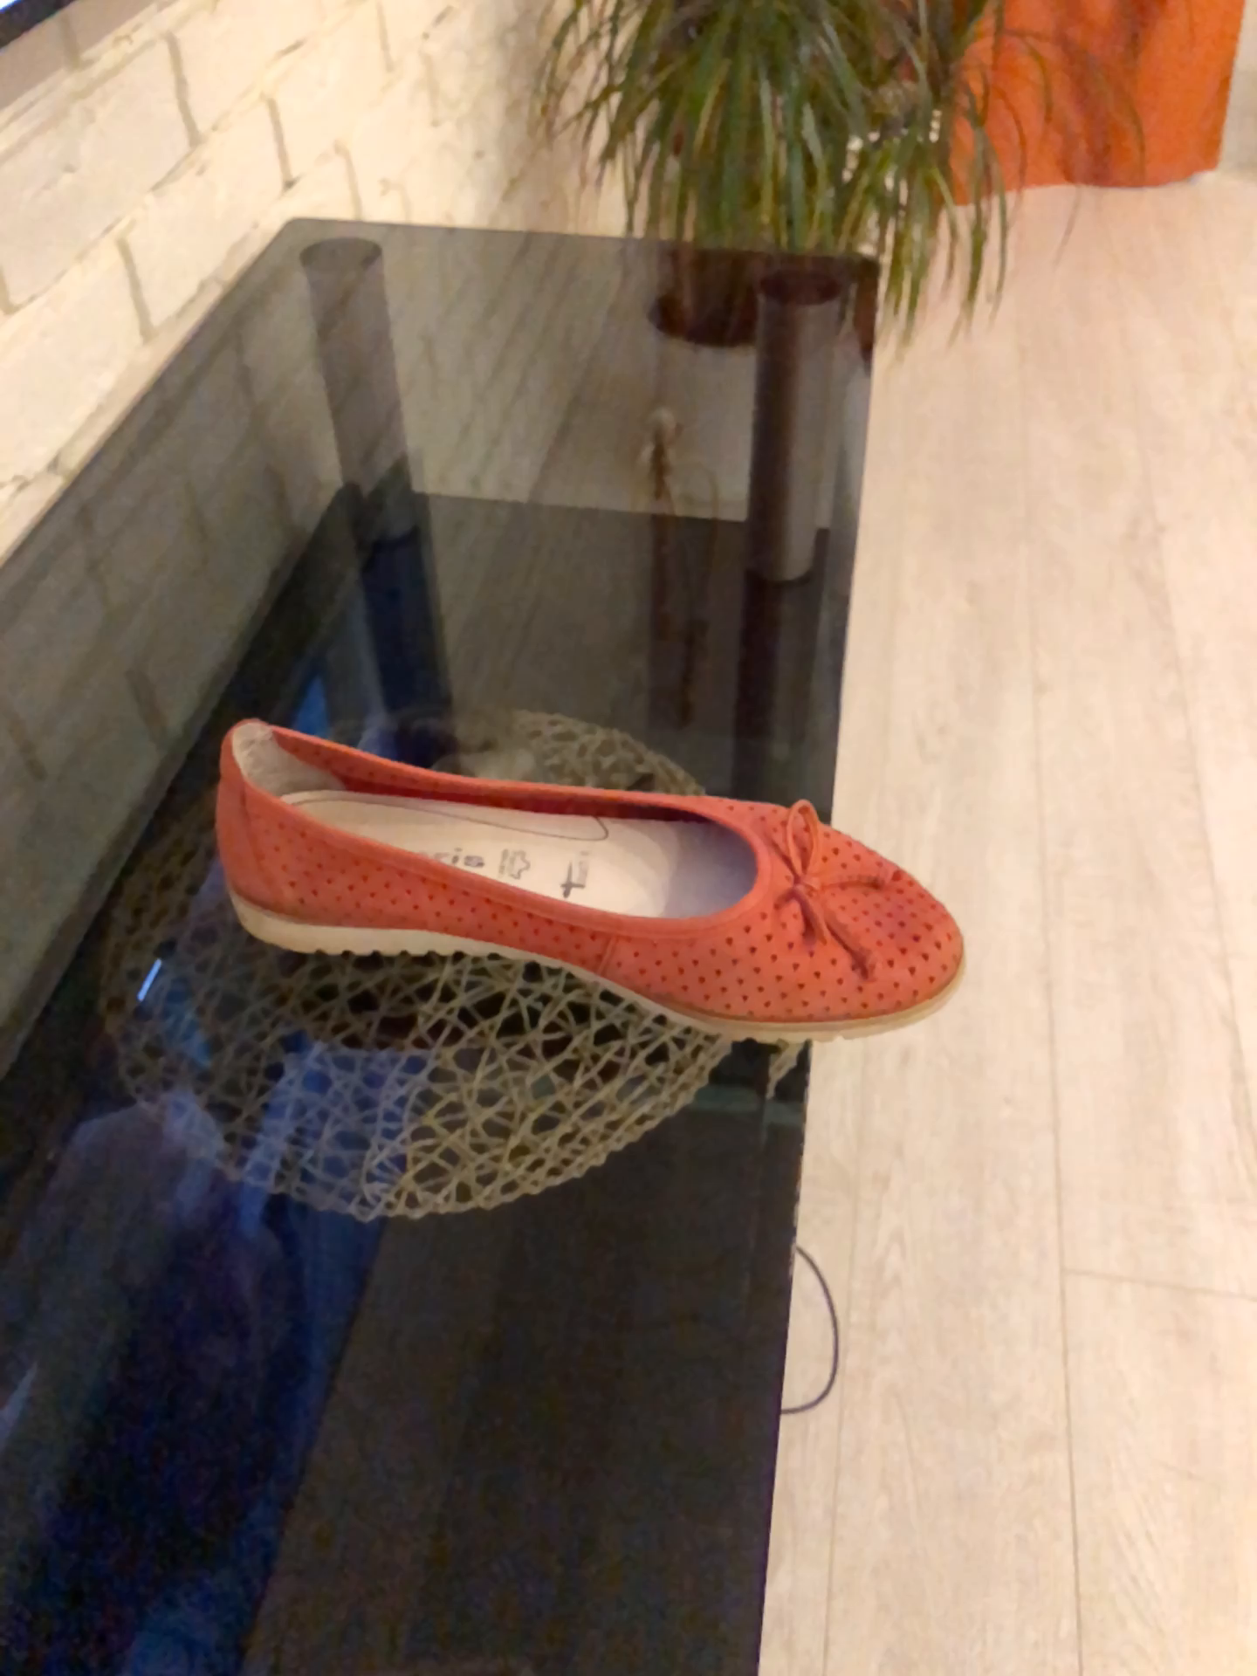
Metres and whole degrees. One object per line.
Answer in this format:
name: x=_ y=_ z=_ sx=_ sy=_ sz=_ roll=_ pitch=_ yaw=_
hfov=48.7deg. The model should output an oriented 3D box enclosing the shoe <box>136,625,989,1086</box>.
shoe: x=-0.016 y=0.002 z=0.453 sx=0.247 sy=0.079 sz=0.091 roll=7 pitch=46 yaw=9
